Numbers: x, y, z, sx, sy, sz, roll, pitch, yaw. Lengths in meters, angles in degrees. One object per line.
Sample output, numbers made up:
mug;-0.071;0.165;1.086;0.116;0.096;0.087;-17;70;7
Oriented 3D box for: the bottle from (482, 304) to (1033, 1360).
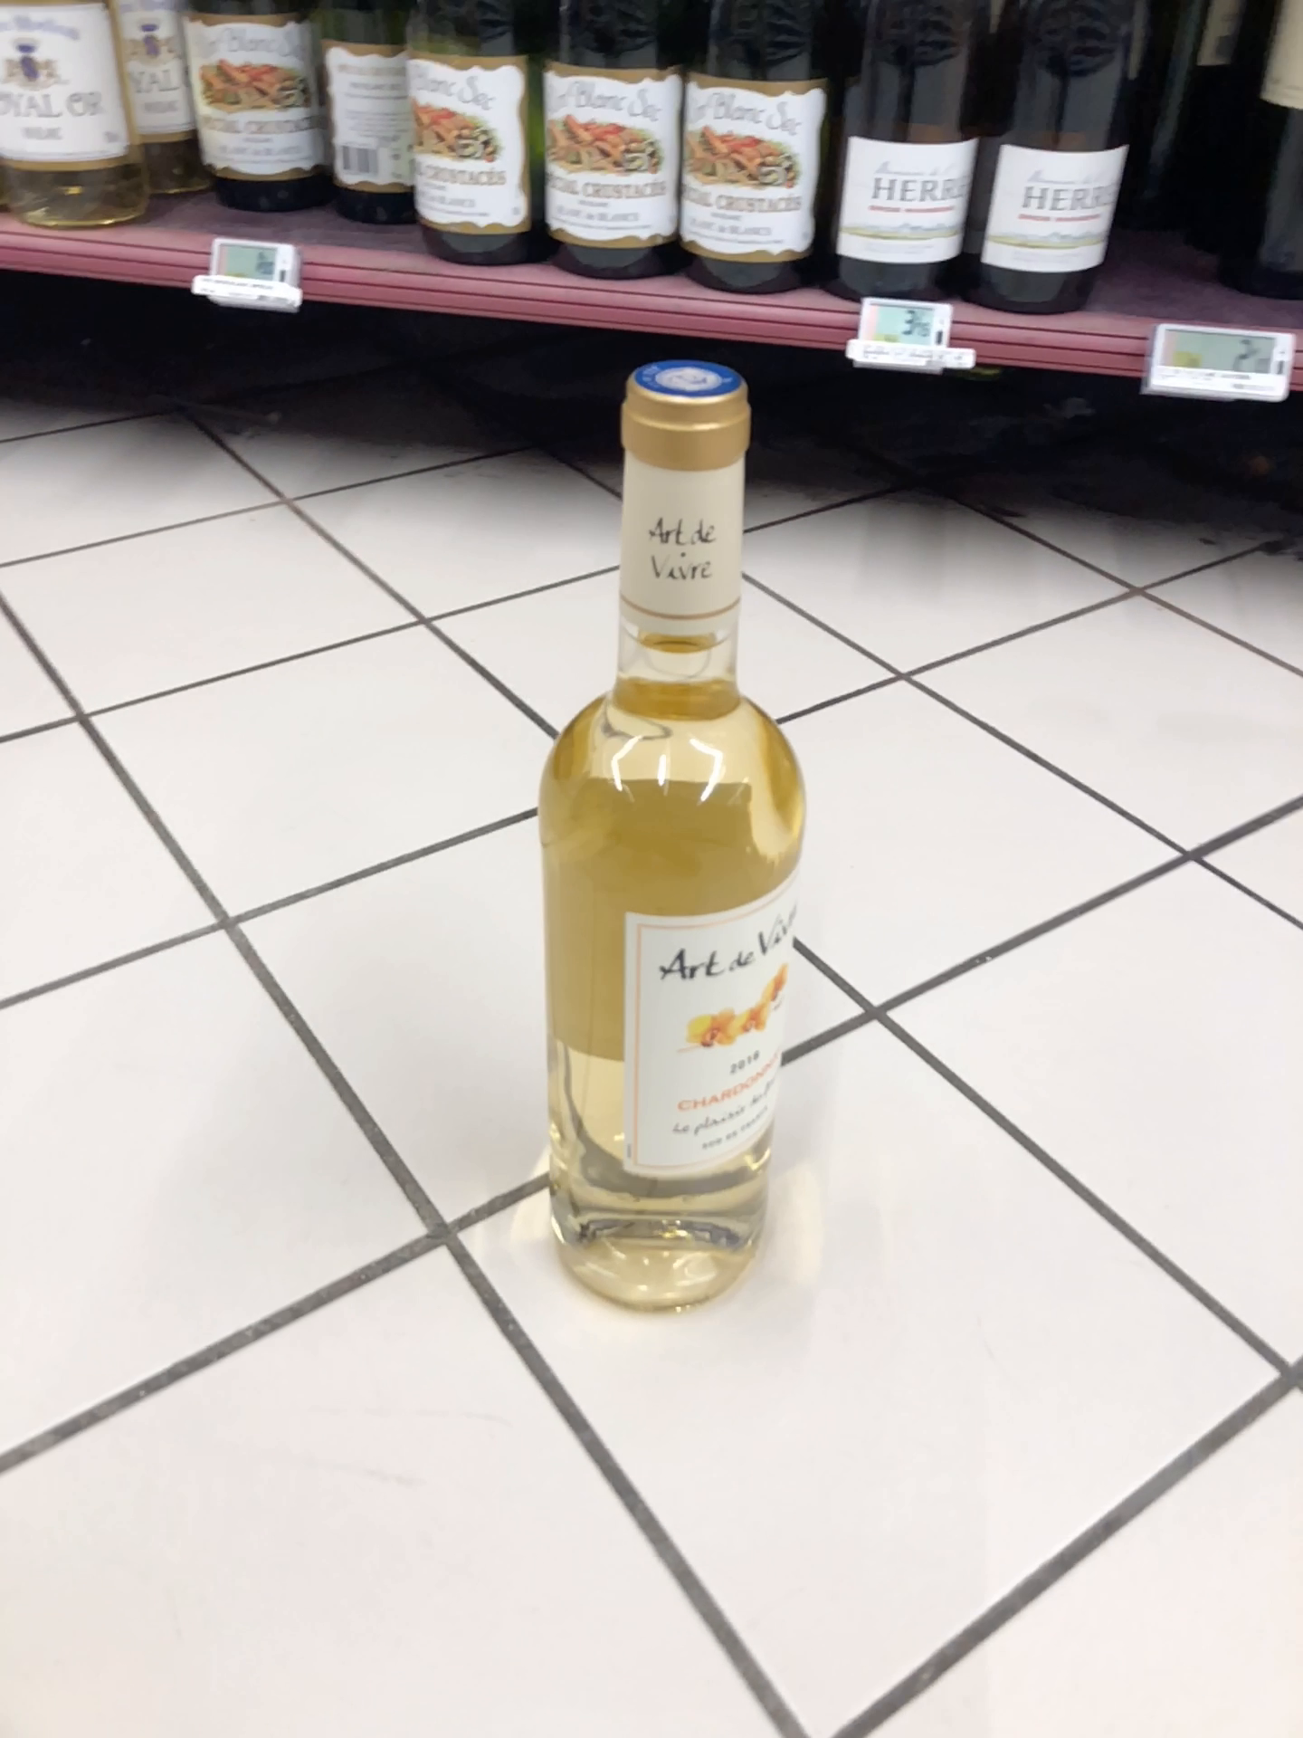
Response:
bottle;0.019;0.003;0.417;0.090;0.288;0.090;1;37;-1
